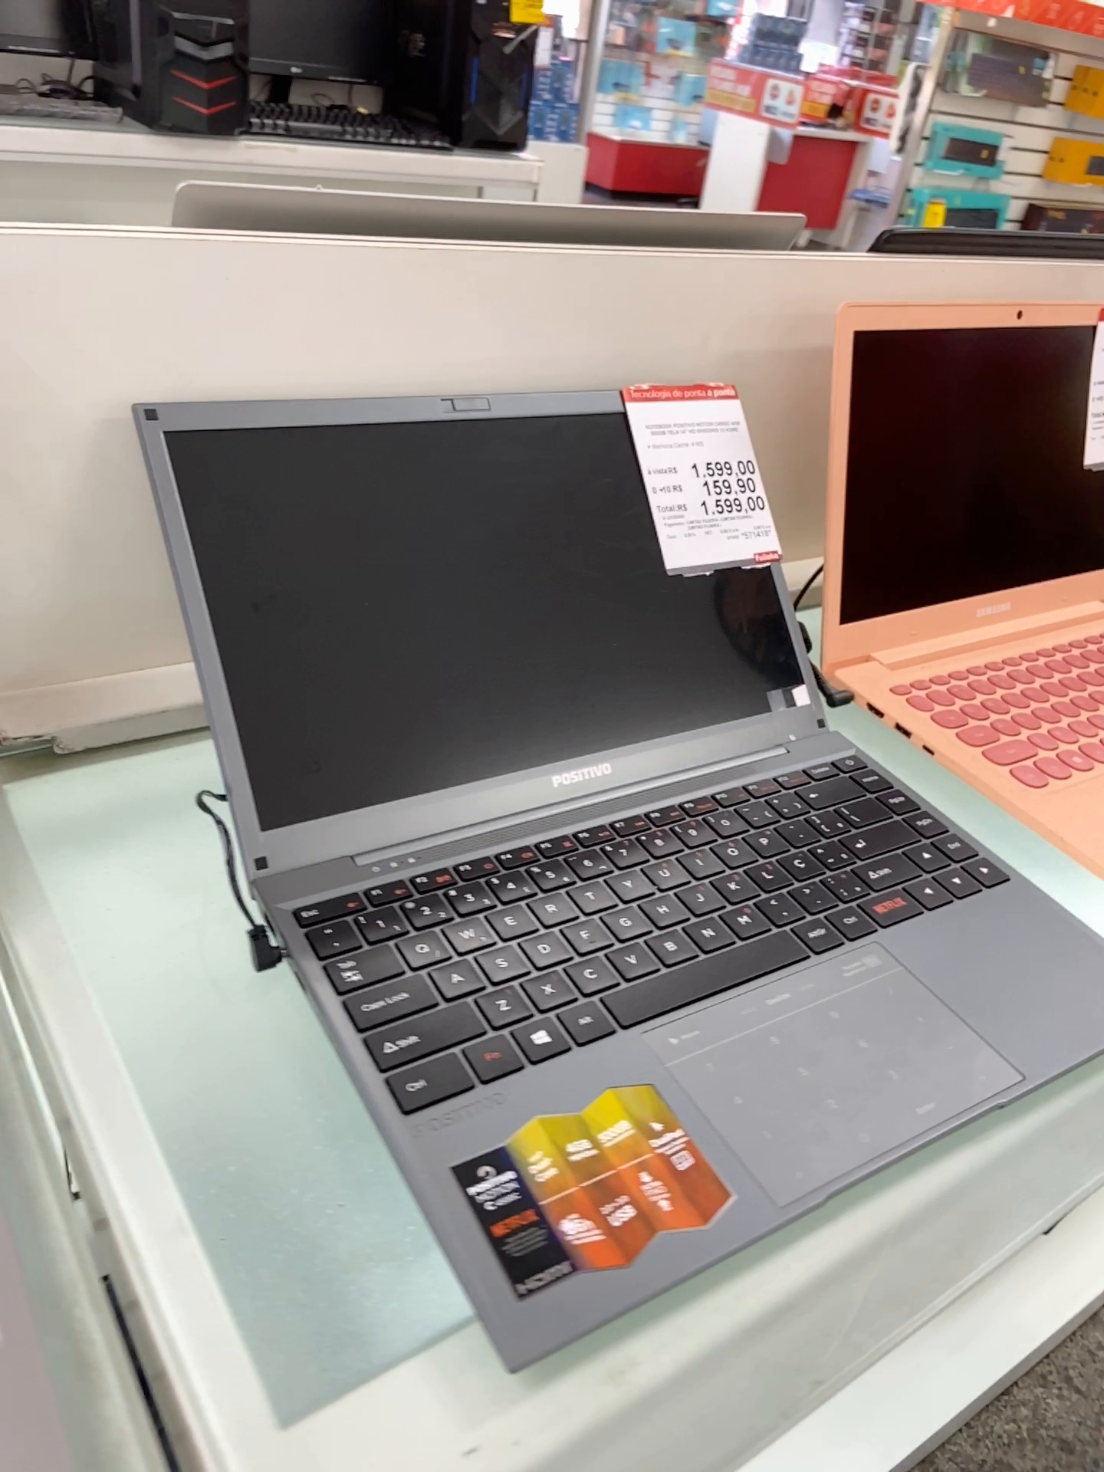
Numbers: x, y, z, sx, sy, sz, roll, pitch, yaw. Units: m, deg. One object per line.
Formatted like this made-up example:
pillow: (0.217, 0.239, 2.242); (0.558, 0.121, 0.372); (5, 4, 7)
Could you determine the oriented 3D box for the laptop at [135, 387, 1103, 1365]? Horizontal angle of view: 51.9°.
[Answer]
laptop: (0.045, -0.014, 0.486); (0.334, 0.144, 0.367); (-12, 39, -30)
